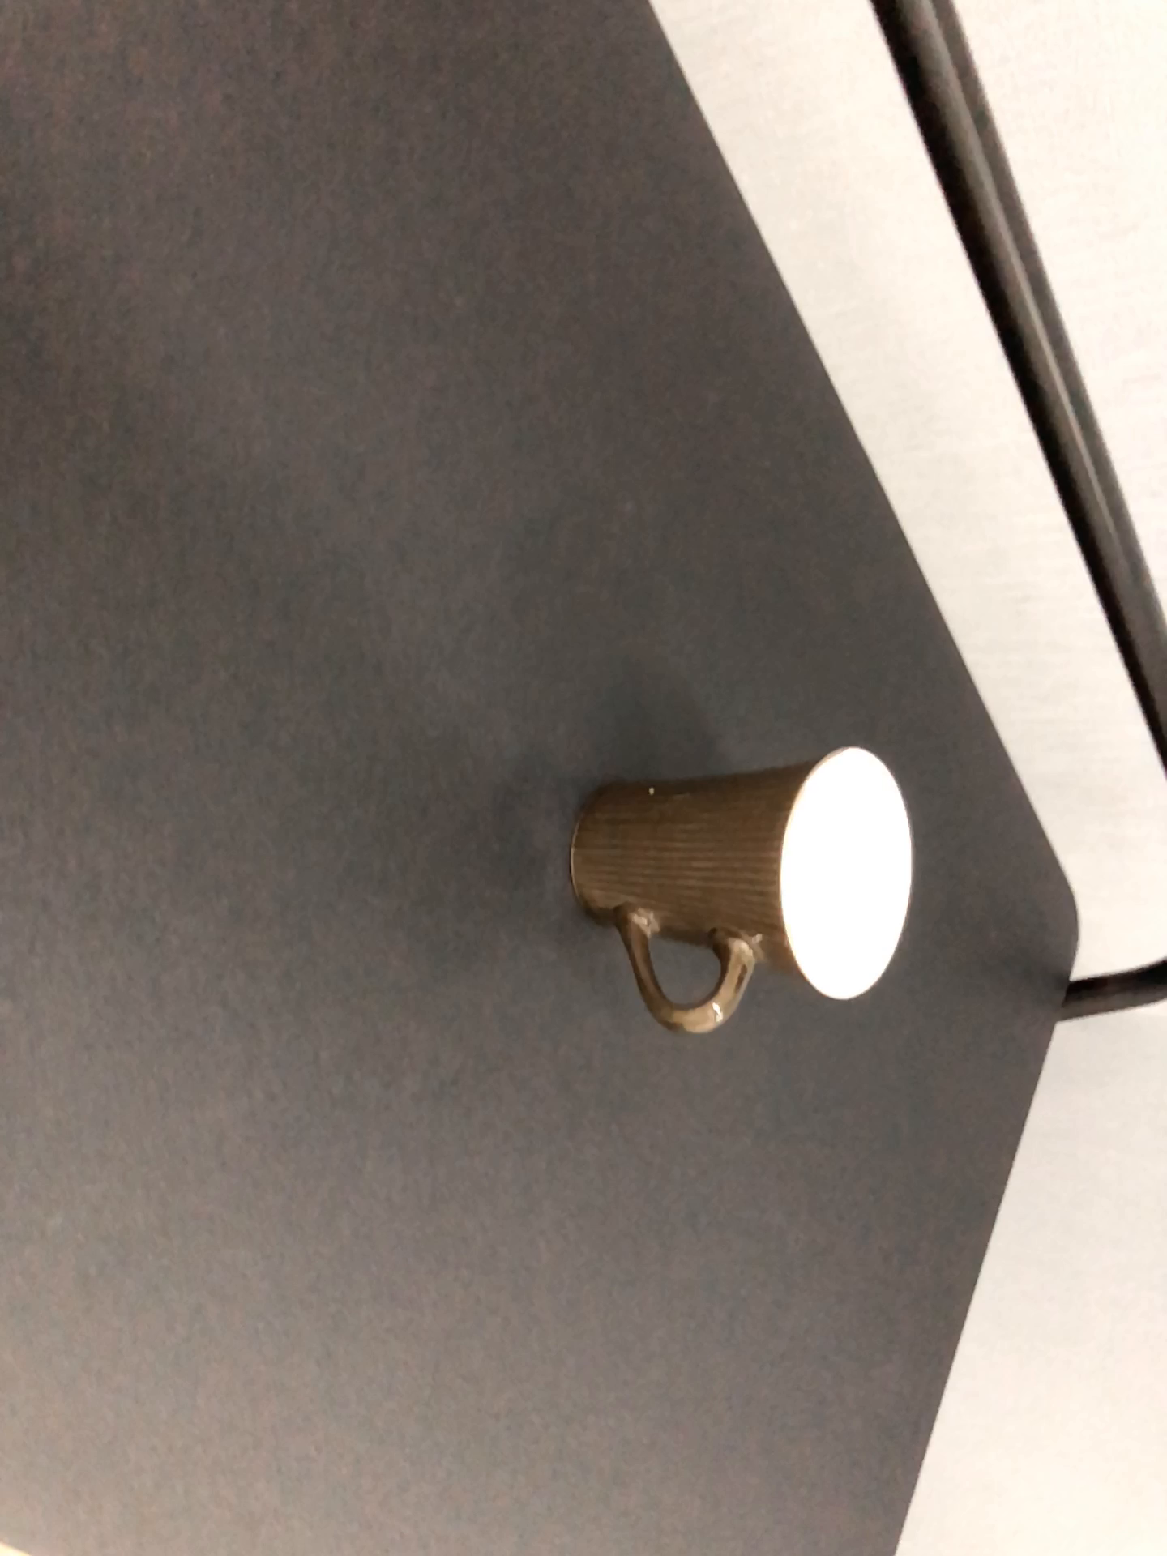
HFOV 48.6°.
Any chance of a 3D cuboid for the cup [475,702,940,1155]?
[{"bbox_3d":[0.036,0.035,0.337,0.090,0.069,0.065,-54,128,-34],"label":"cup"}]
